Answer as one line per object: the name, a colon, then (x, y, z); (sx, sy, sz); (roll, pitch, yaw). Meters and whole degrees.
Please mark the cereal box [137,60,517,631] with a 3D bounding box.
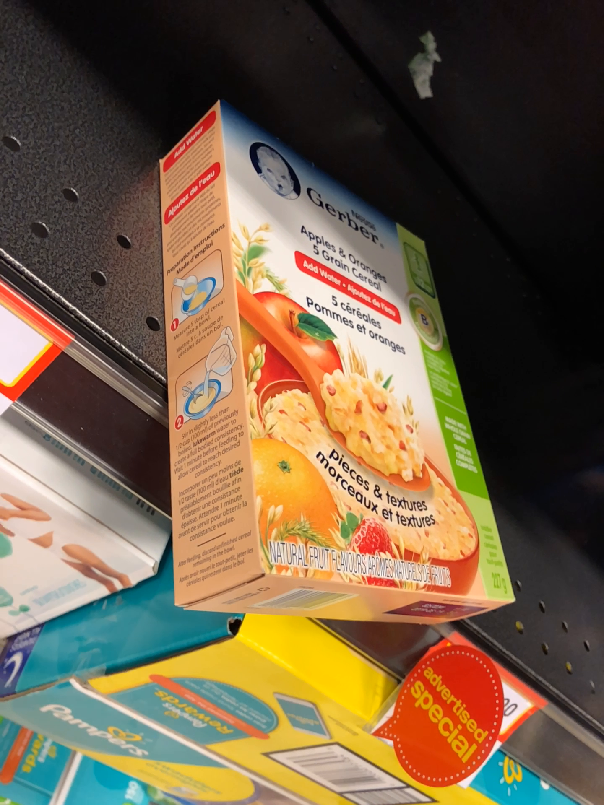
cereal box: (0.008, -0.017, 0.292); (0.151, 0.050, 0.210); (20, 53, -42)
